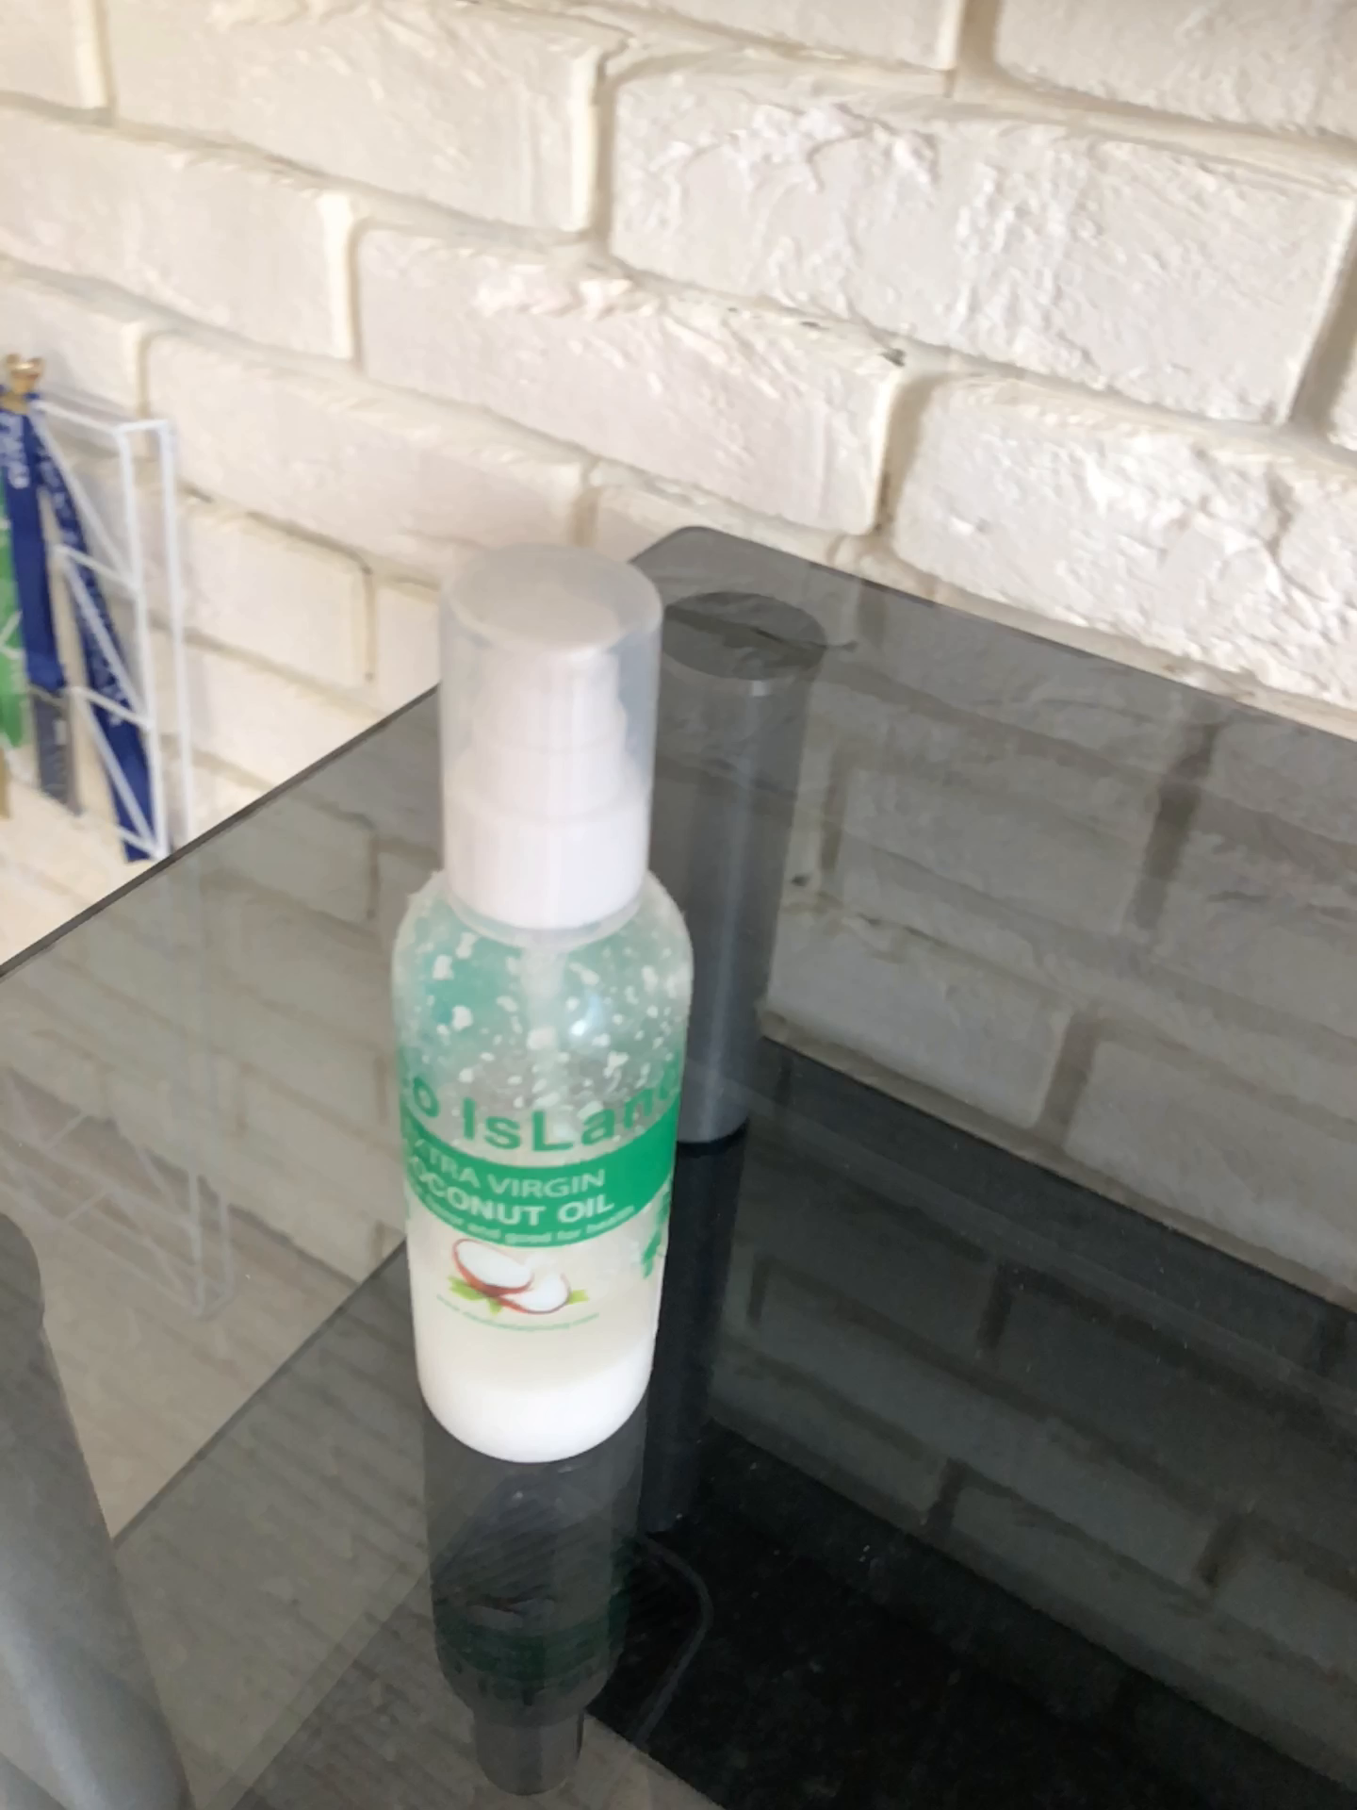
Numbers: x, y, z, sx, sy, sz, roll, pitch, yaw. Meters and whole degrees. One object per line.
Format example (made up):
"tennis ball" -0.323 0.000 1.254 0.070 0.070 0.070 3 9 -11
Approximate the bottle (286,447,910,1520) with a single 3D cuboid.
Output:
"bottle" -0.014 0.016 0.212 0.050 0.139 0.050 4 38 -3
